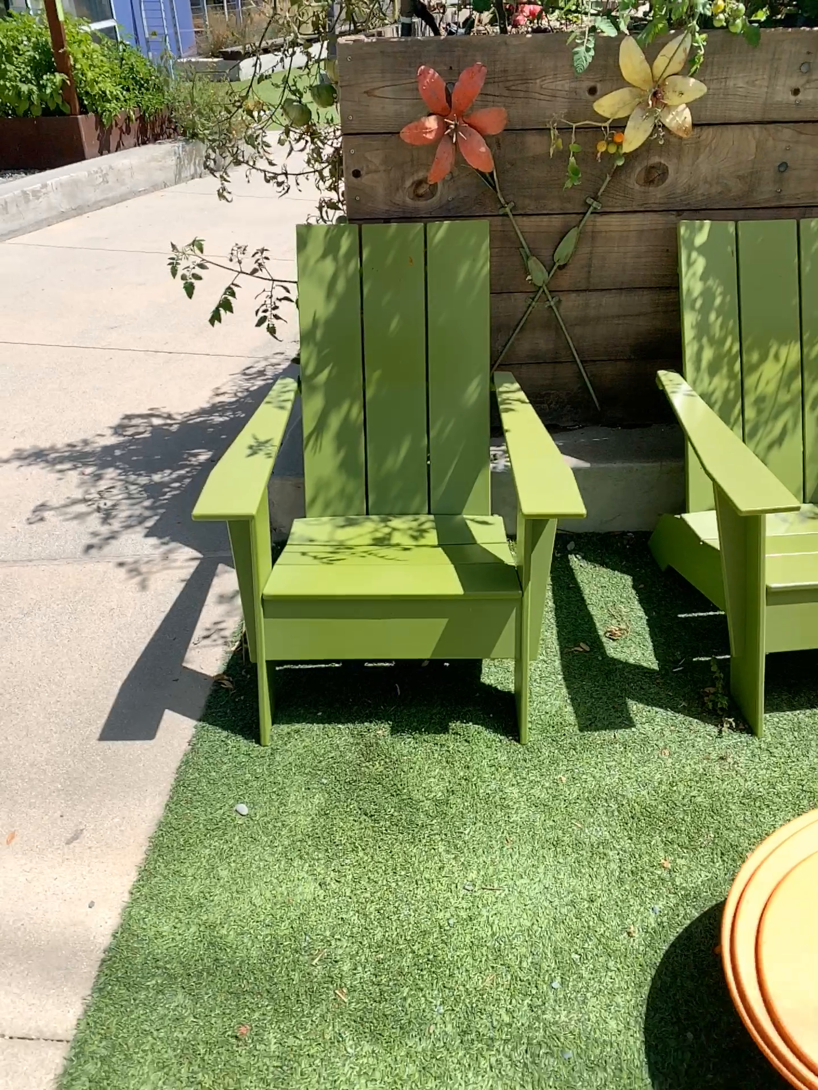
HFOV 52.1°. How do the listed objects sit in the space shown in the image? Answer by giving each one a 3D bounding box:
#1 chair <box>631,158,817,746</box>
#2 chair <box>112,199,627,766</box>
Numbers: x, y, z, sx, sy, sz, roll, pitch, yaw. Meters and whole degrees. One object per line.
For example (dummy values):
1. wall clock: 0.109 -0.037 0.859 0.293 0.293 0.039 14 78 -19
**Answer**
1. chair: 0.937 -0.247 1.851 0.680 0.986 0.893 -3 19 3
2. chair: -0.042 -0.191 1.699 0.680 0.836 0.904 -1 29 1
